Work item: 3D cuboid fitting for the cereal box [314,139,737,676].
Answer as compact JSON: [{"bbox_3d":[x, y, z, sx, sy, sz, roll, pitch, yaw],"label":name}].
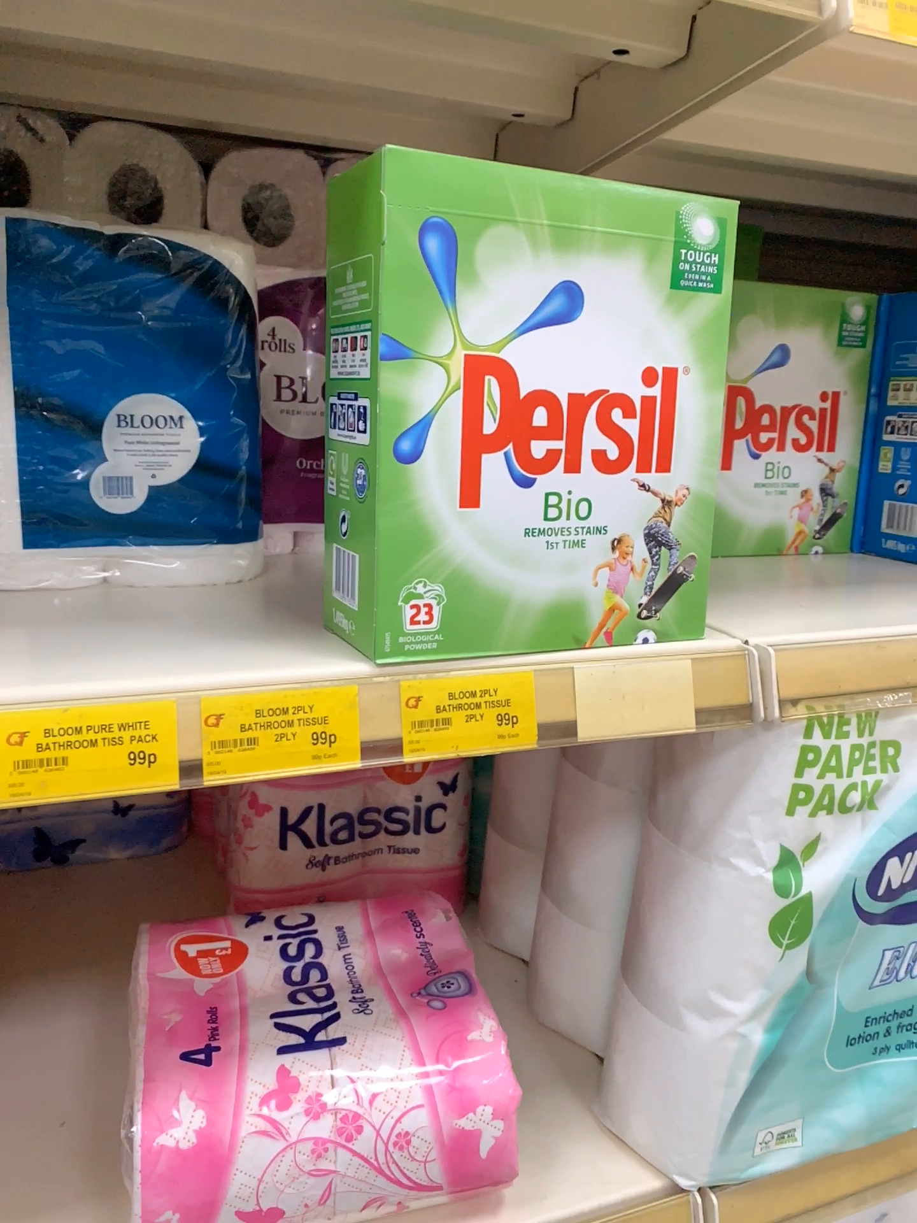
[{"bbox_3d":[0.031,-0.102,0.511,0.200,0.239,0.090,-3,12,-24],"label":"cereal box"}]
